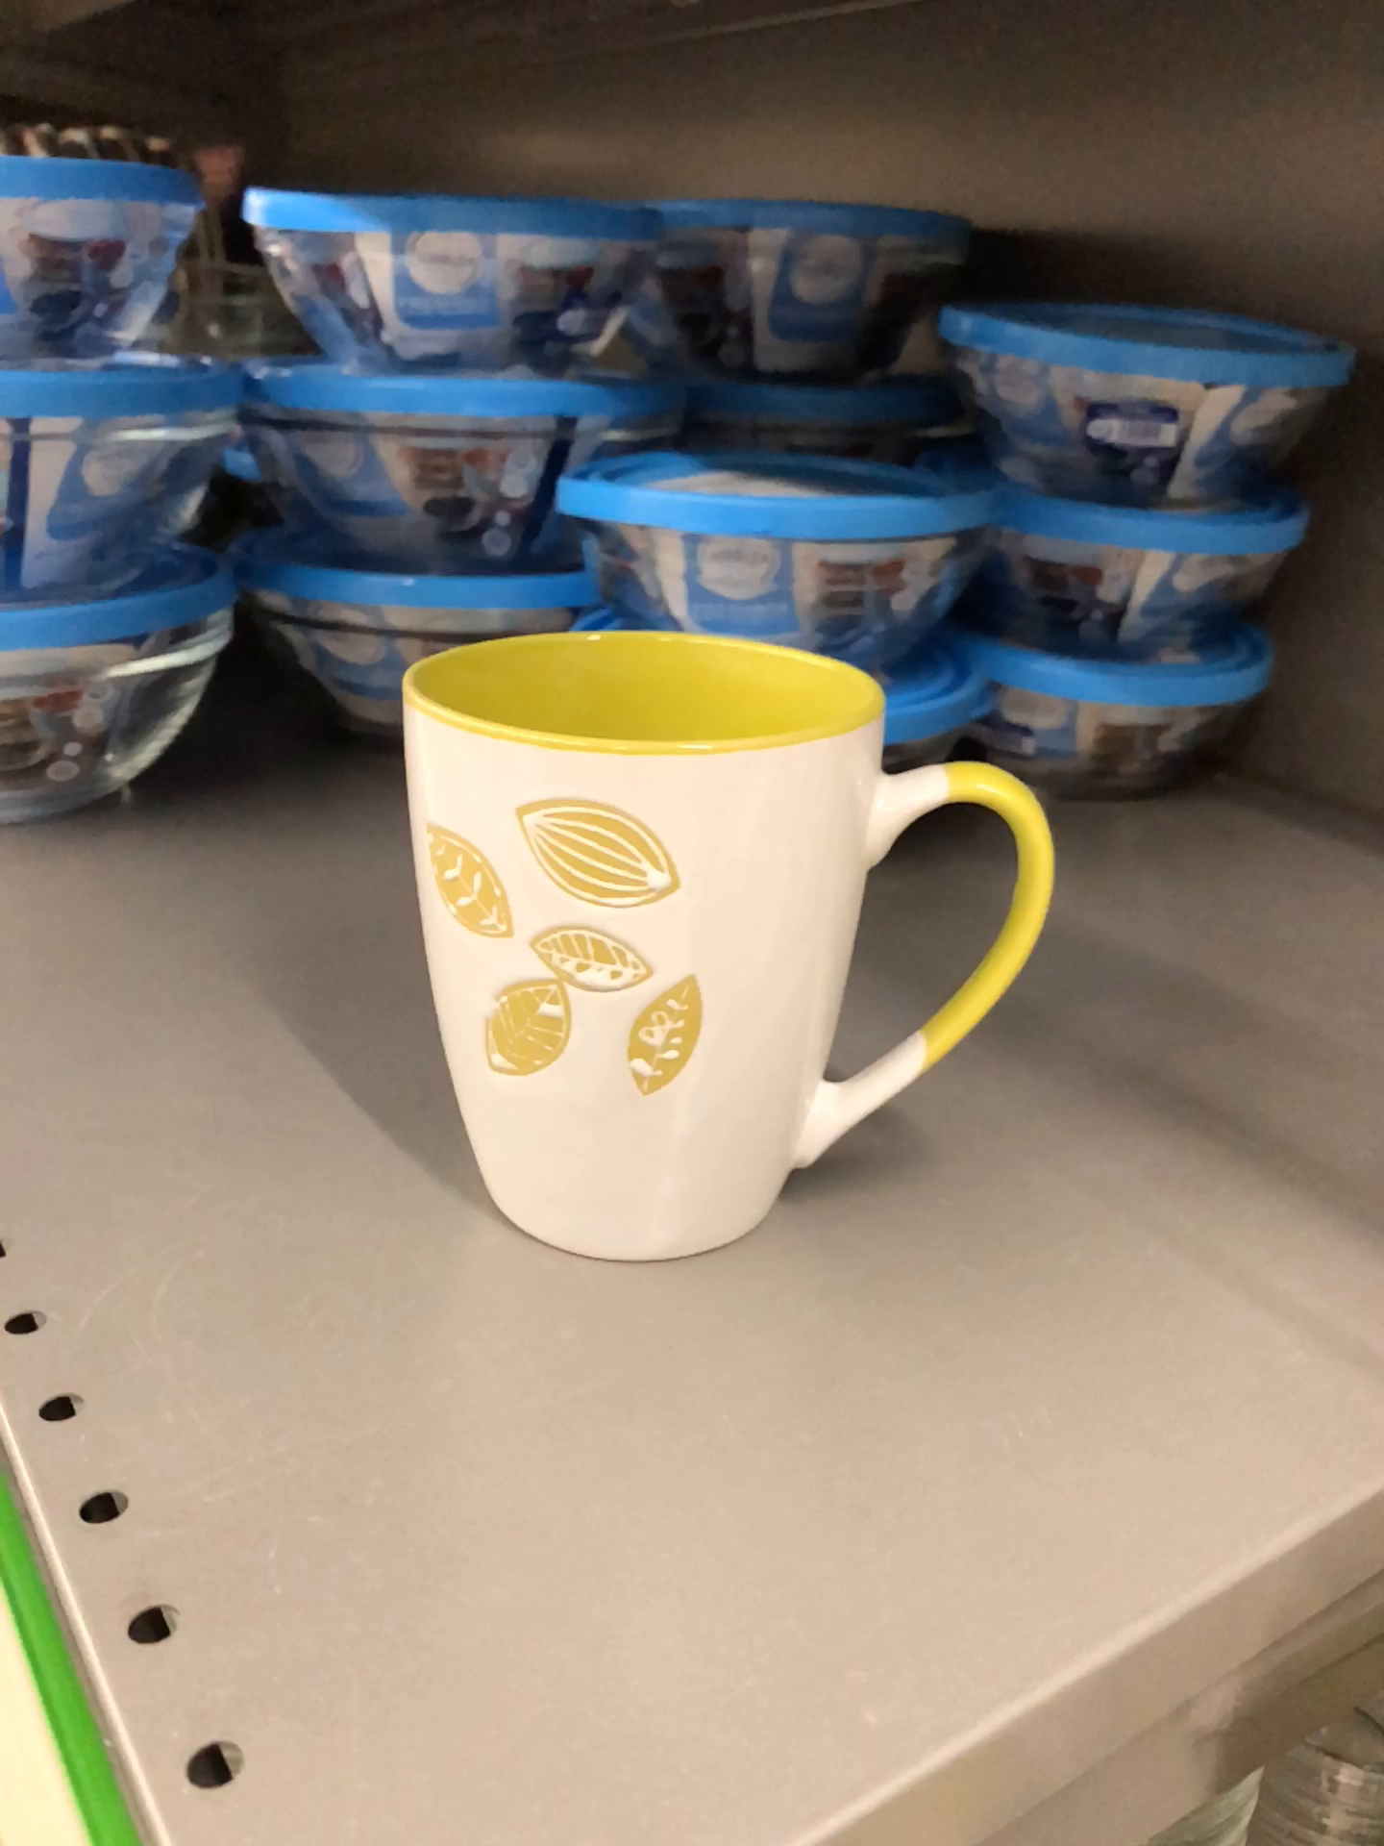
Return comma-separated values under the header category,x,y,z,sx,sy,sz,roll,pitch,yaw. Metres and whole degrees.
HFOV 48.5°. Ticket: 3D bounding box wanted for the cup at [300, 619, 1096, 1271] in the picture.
category,x,y,z,sx,sy,sz,roll,pitch,yaw
cup,-0.001,-0.001,0.304,0.126,0.095,0.094,2,22,-1
